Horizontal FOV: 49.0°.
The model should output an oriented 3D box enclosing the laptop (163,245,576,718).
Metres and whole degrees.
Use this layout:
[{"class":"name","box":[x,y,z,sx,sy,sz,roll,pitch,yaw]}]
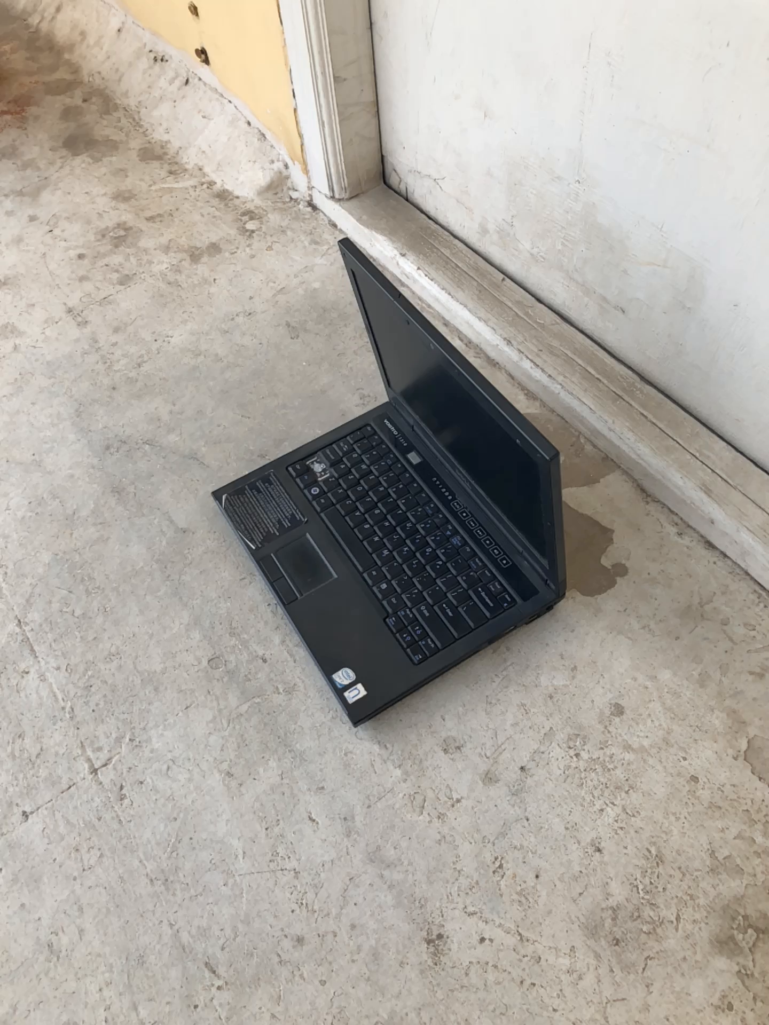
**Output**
[{"class":"laptop","box":[-0.018,-0.031,0.761,0.213,0.219,0.294,-29,57,-13]}]
